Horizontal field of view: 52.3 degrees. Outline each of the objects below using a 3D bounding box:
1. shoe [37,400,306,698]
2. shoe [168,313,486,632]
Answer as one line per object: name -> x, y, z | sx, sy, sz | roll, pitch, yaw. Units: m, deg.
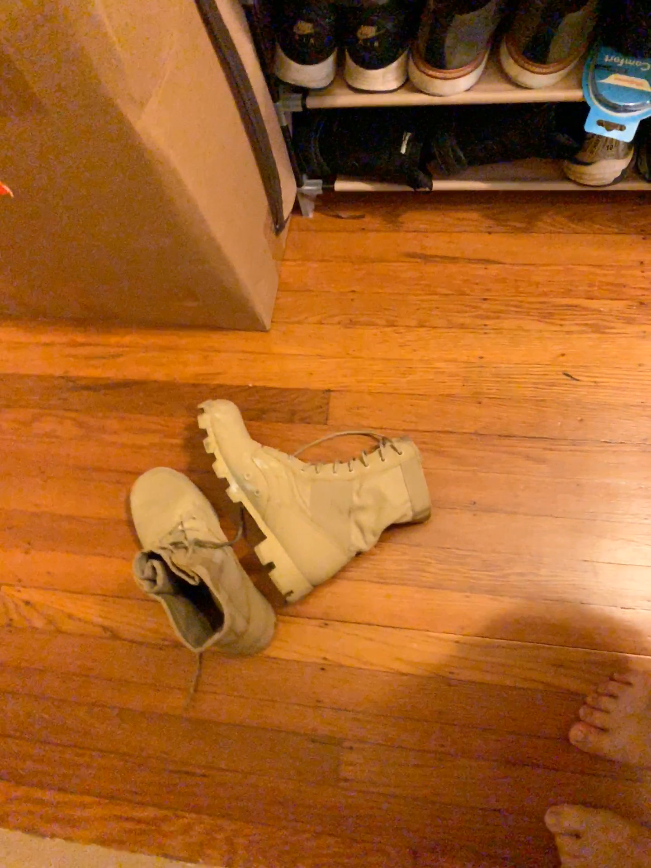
shoe -> -0.170, 0.136, 0.777 | 0.120, 0.200, 0.291 | -36, 72, -4
shoe -> -0.002, 0.045, 0.839 | 0.260, 0.110, 0.291 | -33, 72, -9
